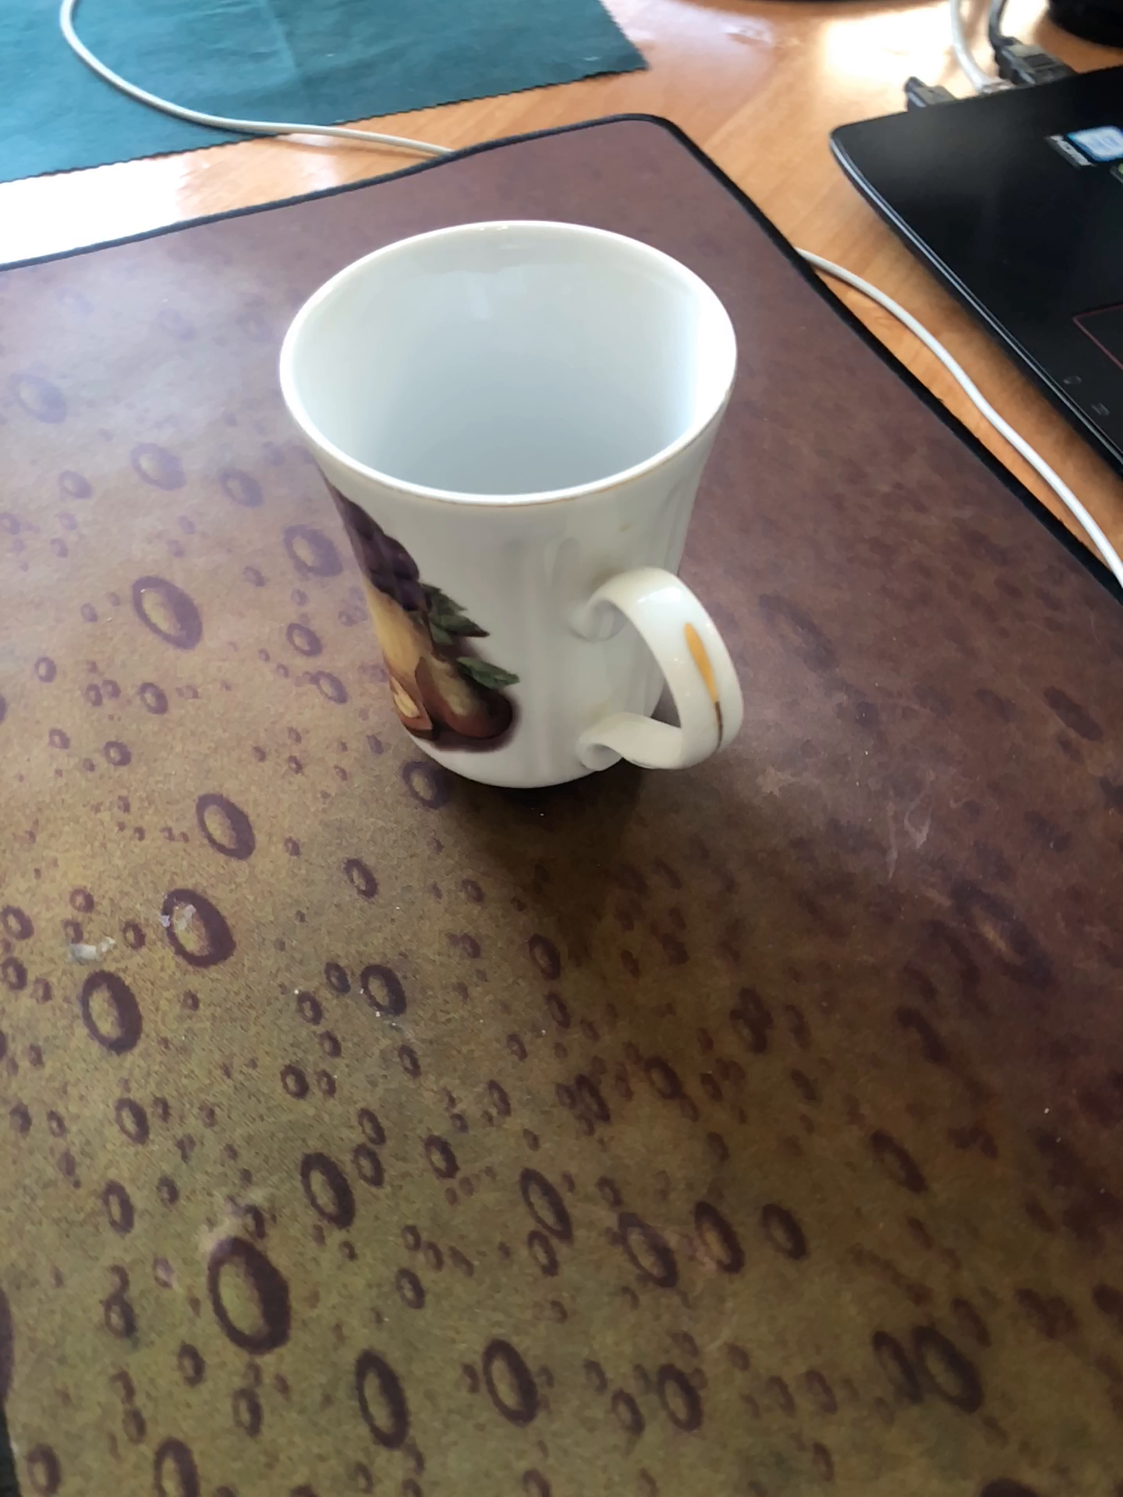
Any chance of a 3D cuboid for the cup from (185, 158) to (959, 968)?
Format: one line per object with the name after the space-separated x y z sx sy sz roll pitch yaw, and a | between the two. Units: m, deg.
-0.002 -0.036 0.226 0.080 0.080 0.100 -26 56 -19 | cup
